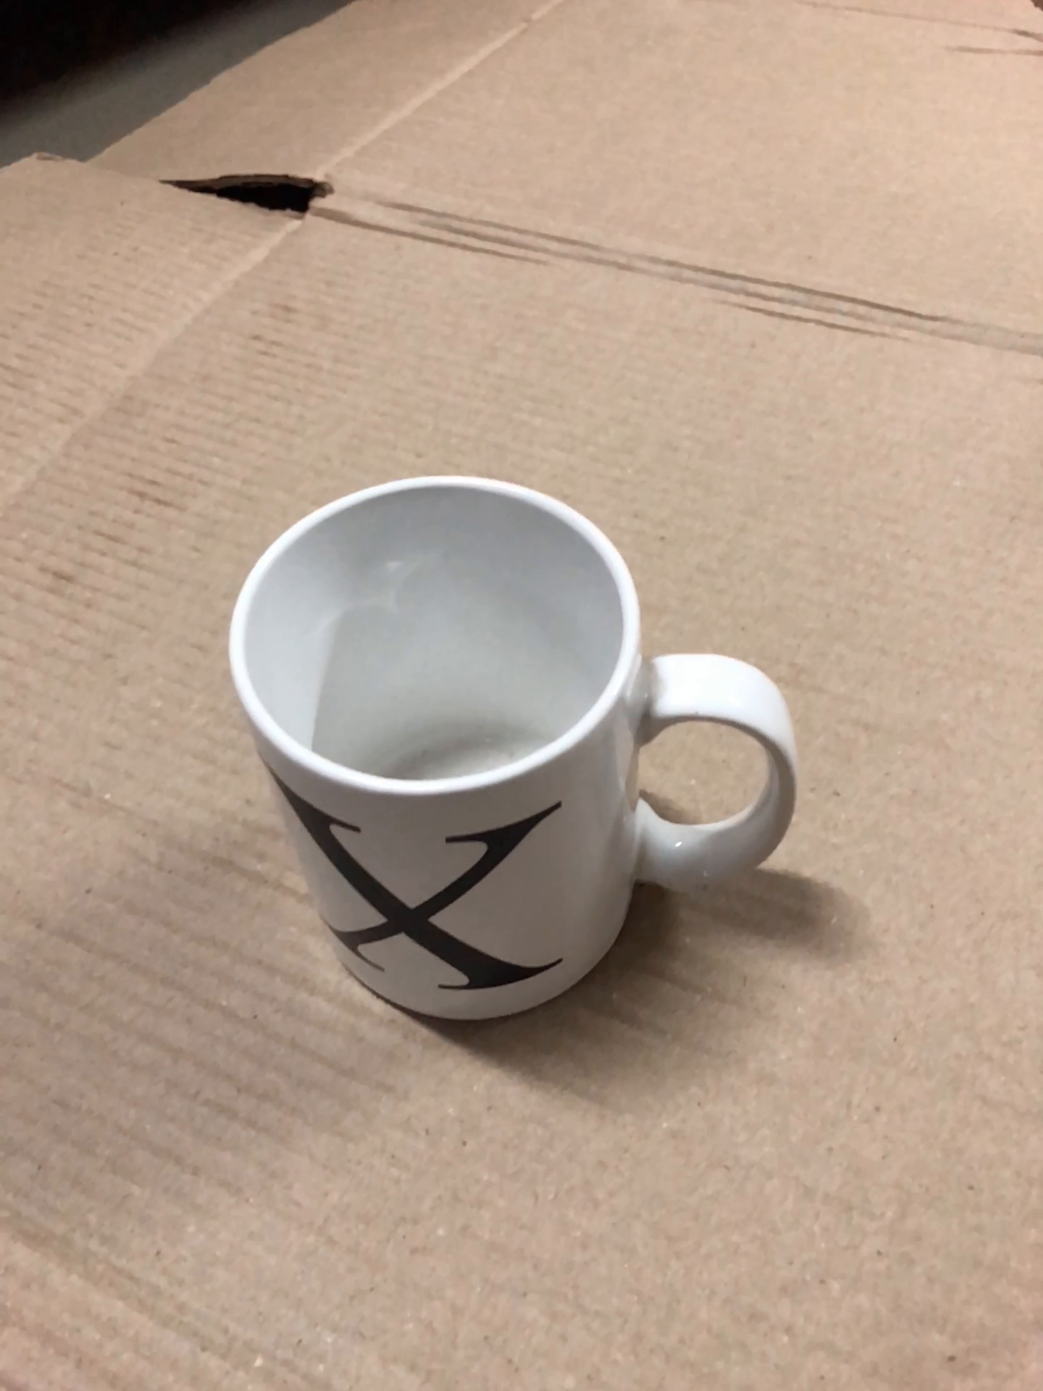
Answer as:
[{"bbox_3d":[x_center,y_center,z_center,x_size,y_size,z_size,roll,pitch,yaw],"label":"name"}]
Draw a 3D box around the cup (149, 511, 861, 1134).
[{"bbox_3d":[0.002,0.026,0.238,0.110,0.089,0.080,4,47,6],"label":"cup"}]
